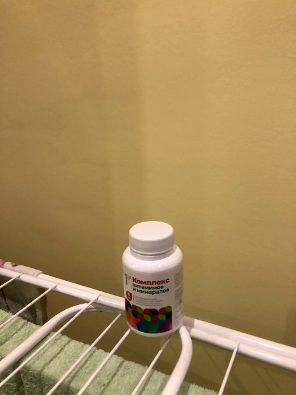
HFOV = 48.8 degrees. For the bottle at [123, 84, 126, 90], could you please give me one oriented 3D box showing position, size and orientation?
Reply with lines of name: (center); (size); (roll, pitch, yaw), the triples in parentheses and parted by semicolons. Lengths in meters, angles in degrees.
bottle: (-1.093, -5.067, 14.994); (0.075, 0.257, 0.076); (-2, 17, 0)
